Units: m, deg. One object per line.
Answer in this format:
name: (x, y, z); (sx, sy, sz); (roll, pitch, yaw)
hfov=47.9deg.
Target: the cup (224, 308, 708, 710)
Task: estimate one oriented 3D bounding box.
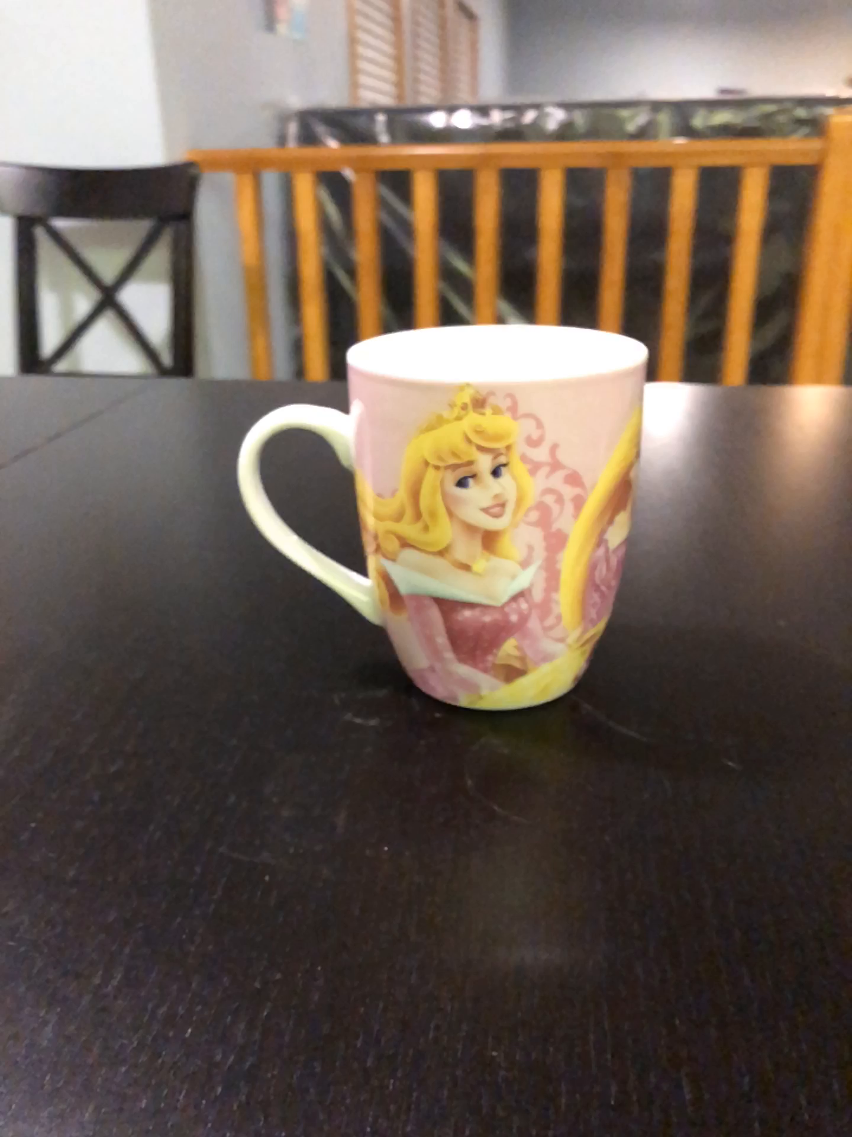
cup: (0.012, -0.023, 0.297); (0.120, 0.100, 0.090); (0, 22, 2)
